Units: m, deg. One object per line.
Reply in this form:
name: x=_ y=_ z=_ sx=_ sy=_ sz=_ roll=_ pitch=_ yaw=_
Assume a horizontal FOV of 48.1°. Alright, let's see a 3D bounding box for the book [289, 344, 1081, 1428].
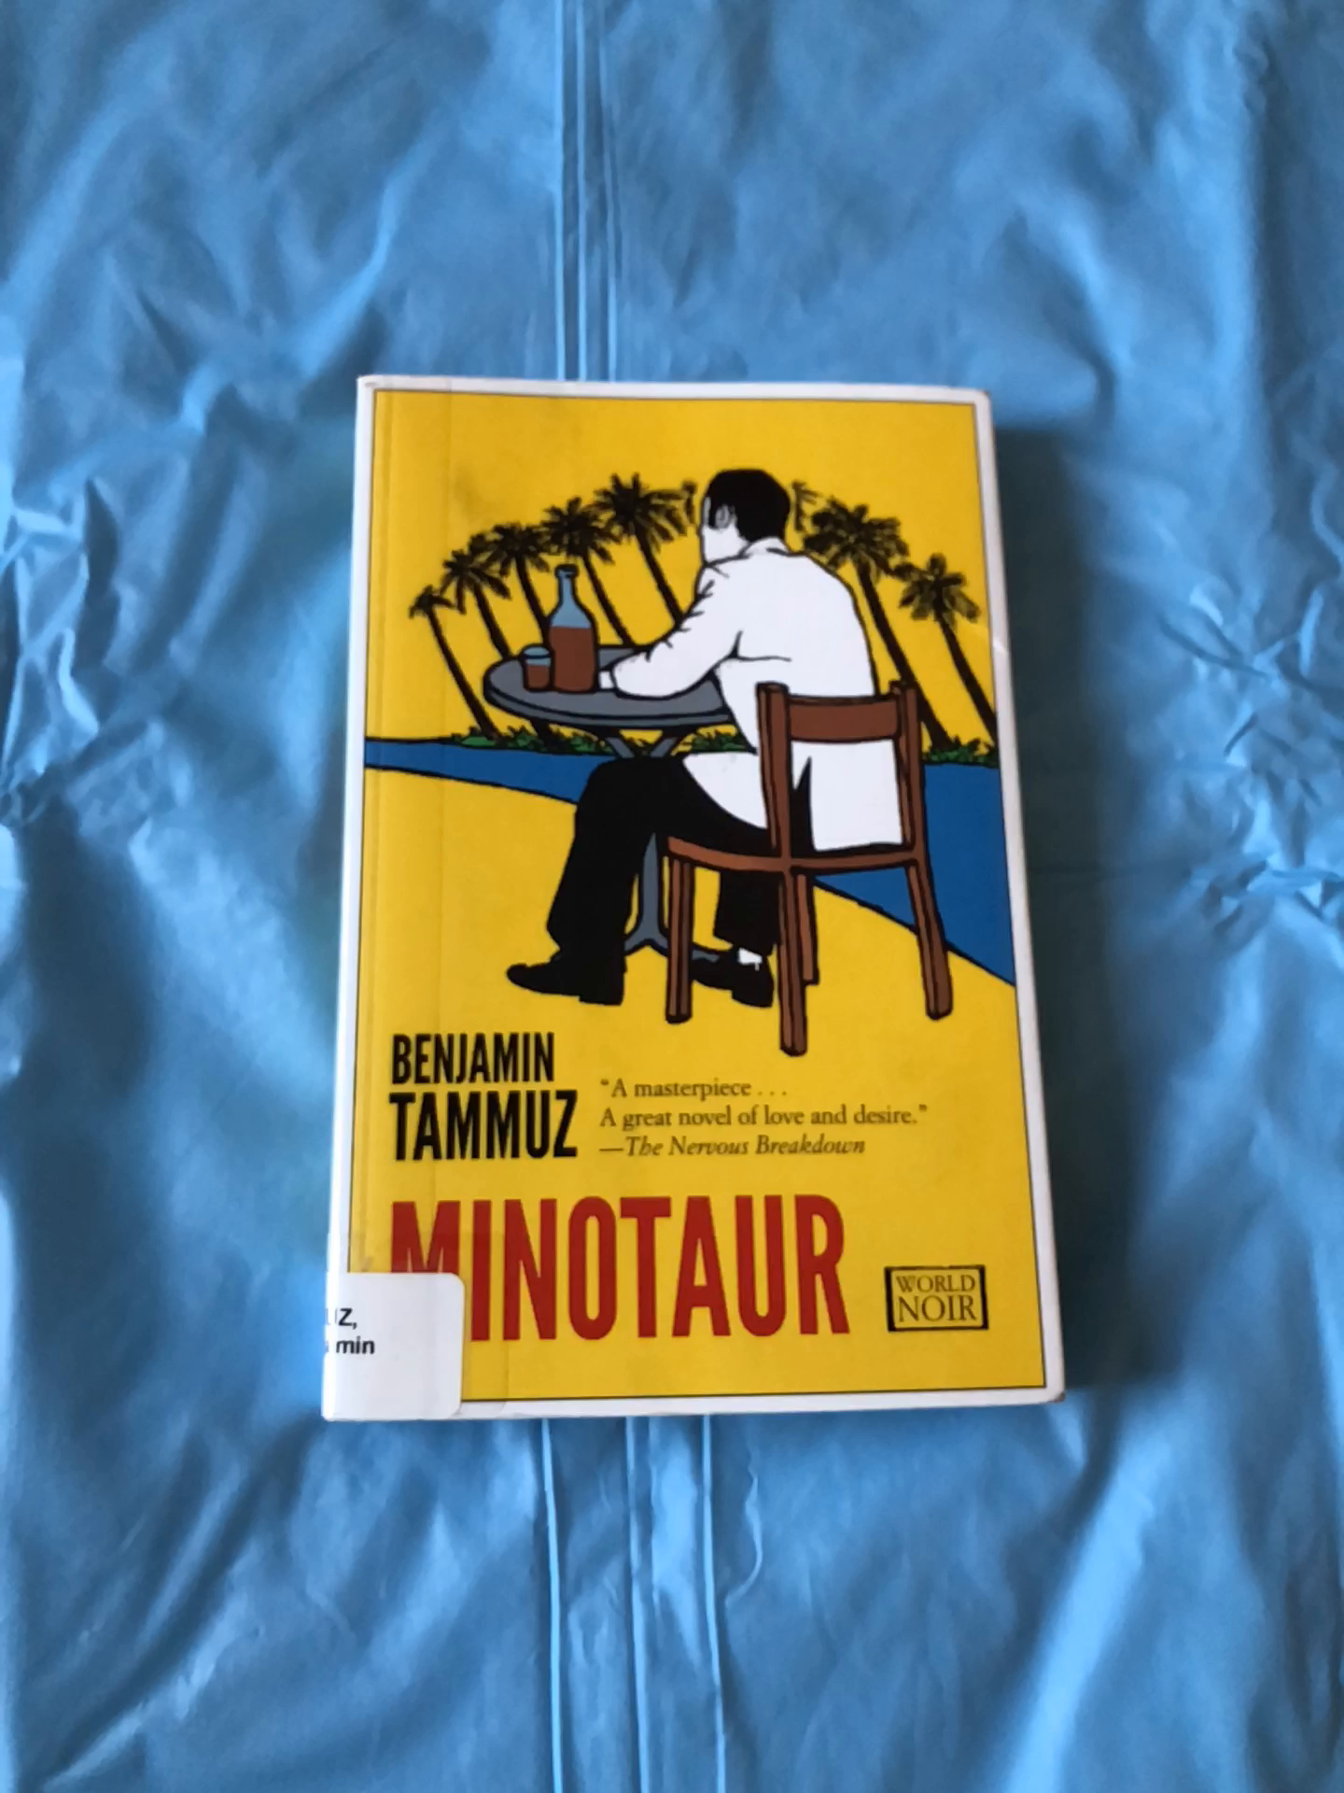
book: x=0.001 y=-0.008 z=0.306 sx=0.142 sy=0.028 sz=0.212 roll=0 pitch=77 yaw=-5
